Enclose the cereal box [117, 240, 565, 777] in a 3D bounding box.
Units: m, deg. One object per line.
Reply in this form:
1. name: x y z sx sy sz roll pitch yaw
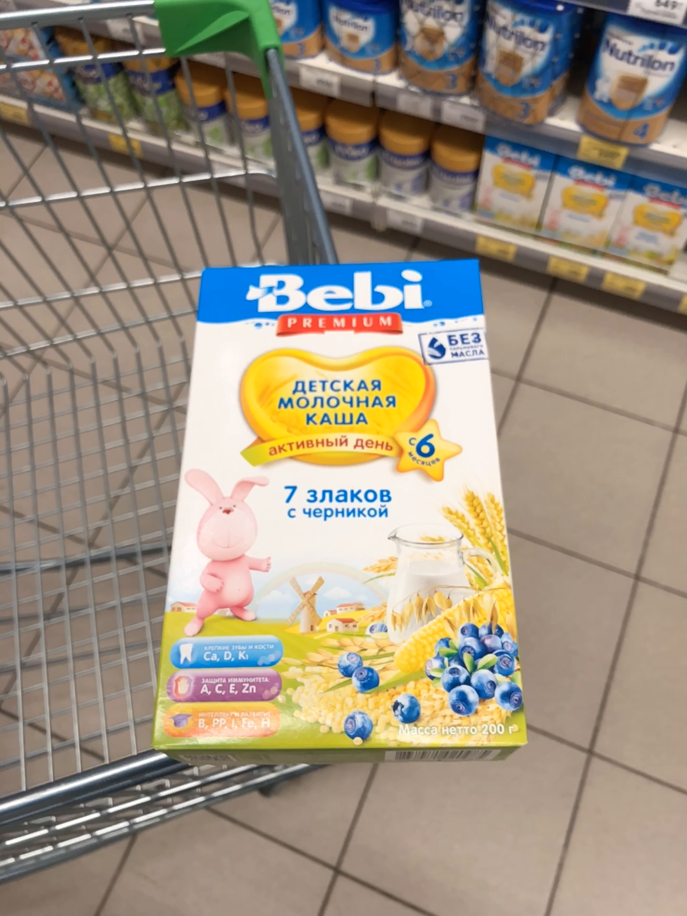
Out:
1. cereal box: -0.001 0.012 0.309 0.140 0.050 0.210 -1 63 2
